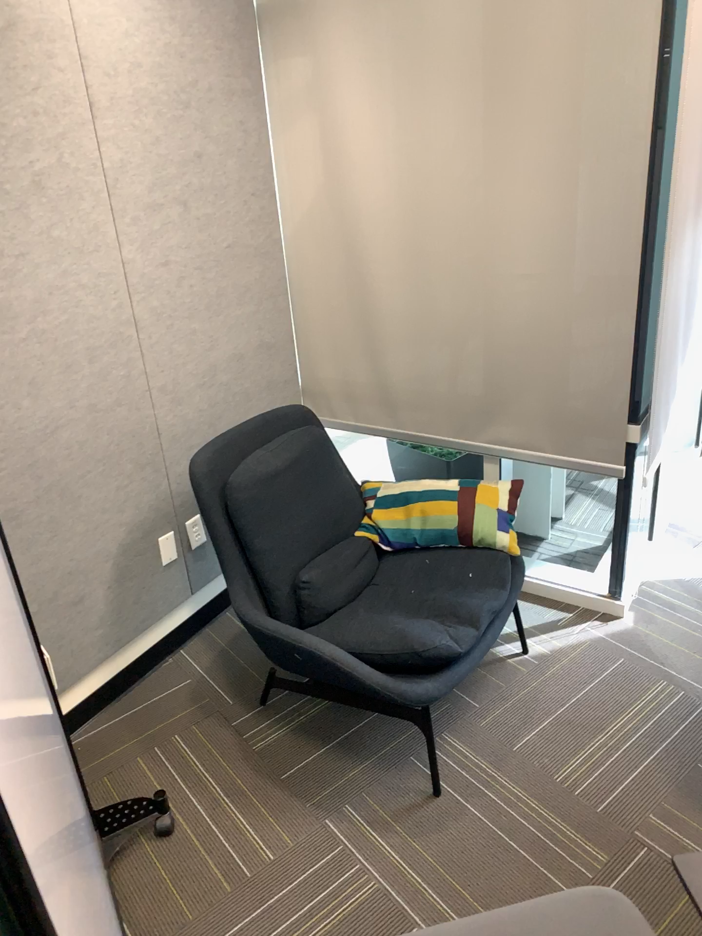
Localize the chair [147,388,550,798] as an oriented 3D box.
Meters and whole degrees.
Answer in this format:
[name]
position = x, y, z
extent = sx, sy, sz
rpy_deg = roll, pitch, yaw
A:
[chair]
position = 0.016, 0.306, 2.415
extent = 1.004, 0.816, 0.791
rpy_deg = 15, 31, 37
